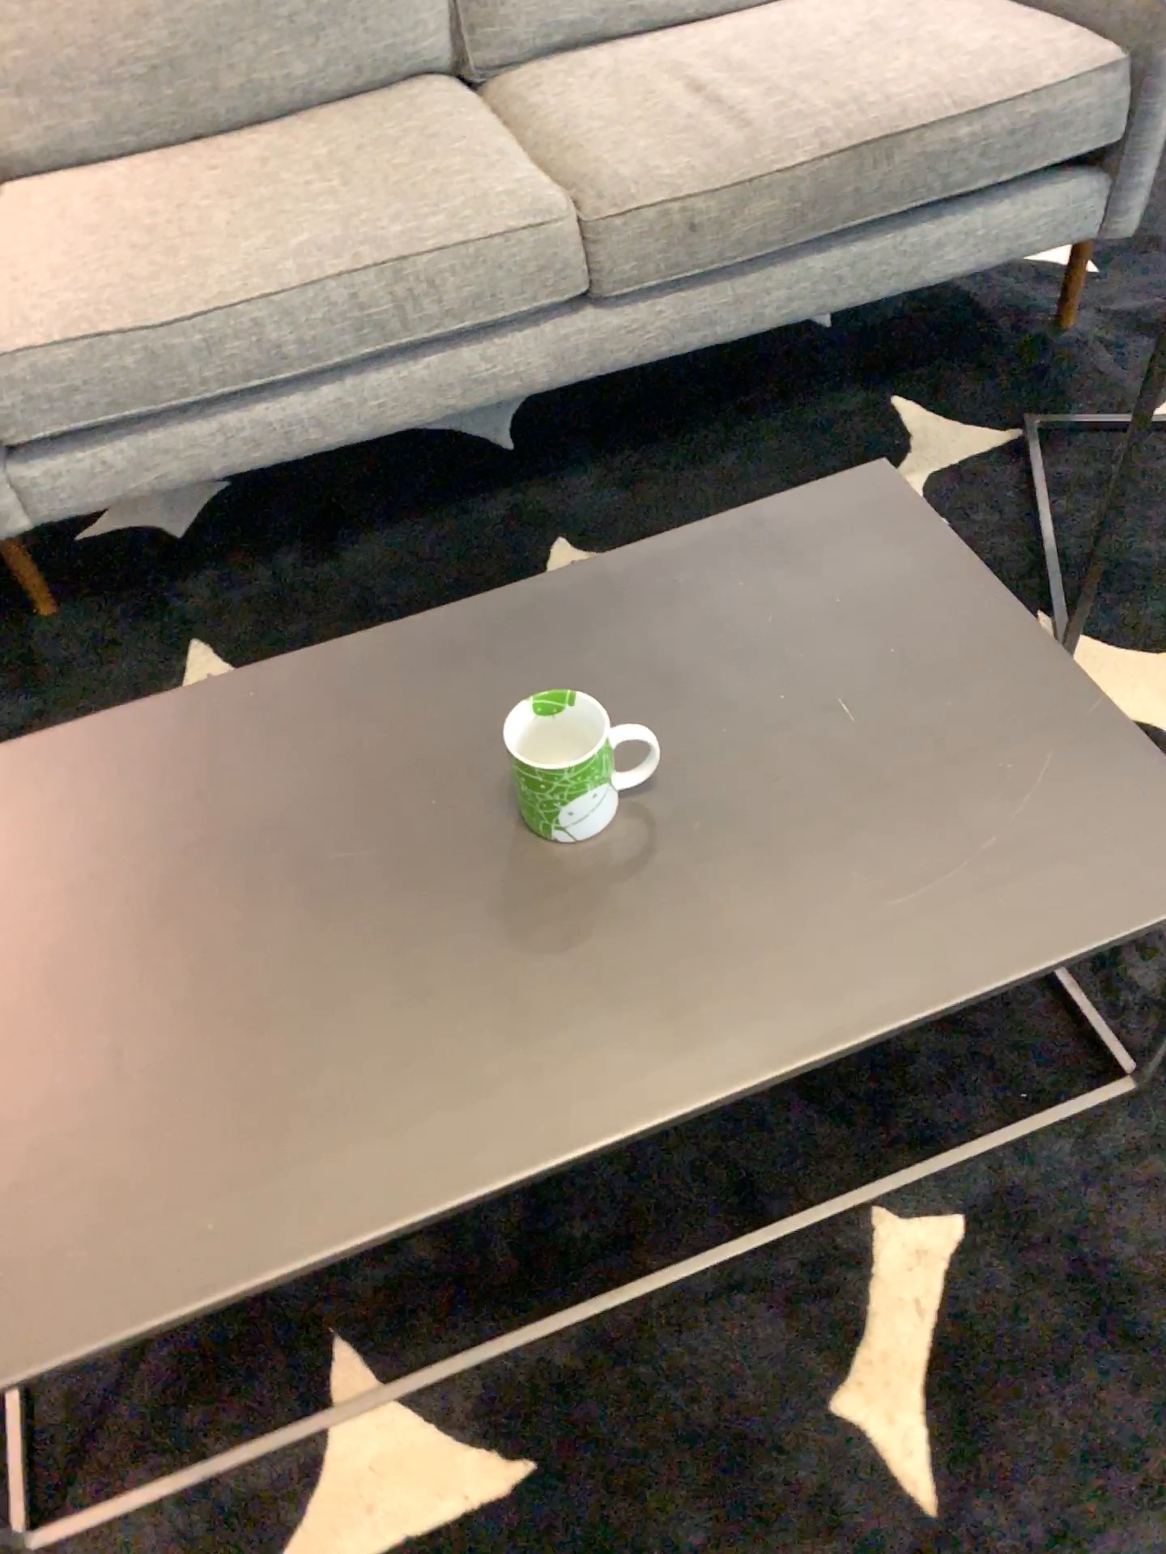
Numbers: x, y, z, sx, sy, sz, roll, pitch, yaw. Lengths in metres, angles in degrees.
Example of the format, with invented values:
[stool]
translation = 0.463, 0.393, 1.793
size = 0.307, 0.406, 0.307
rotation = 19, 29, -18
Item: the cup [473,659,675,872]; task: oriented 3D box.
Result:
[cup]
translation = -0.005, -0.009, 0.918
size = 0.120, 0.090, 0.090
rotation = -24, 52, -12
